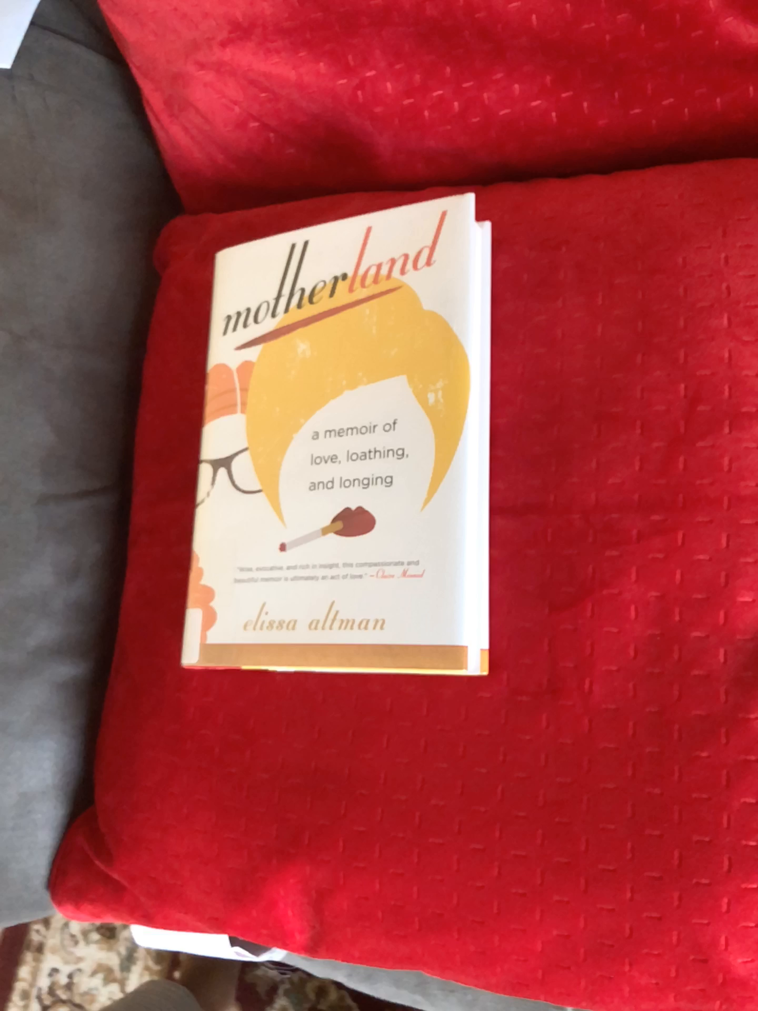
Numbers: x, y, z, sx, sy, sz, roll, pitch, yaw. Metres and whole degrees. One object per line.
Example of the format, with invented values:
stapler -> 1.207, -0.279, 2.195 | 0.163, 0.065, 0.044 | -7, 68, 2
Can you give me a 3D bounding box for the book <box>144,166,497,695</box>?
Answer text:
book -> -0.023, -0.028, 0.367 | 0.140, 0.040, 0.210 | -3, 77, 23
